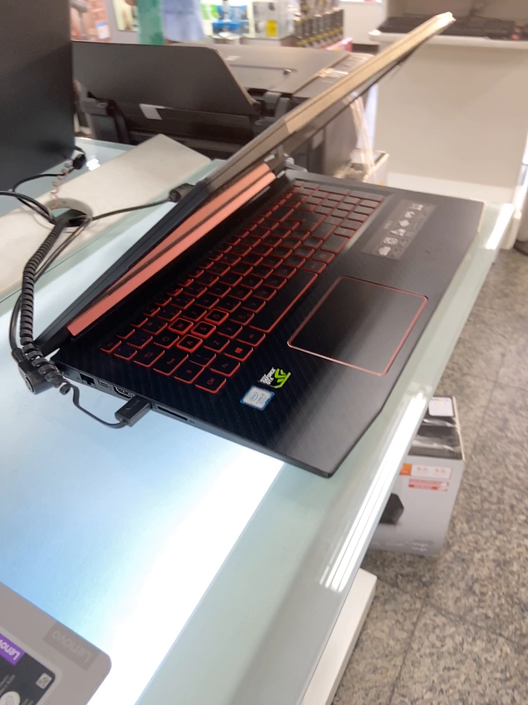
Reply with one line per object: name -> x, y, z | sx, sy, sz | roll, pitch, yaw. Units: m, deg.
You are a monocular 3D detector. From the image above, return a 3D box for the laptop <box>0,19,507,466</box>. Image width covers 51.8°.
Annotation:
laptop -> 0.020, -0.139, 0.443 | 0.234, 0.163, 0.382 | 17, 45, 24
